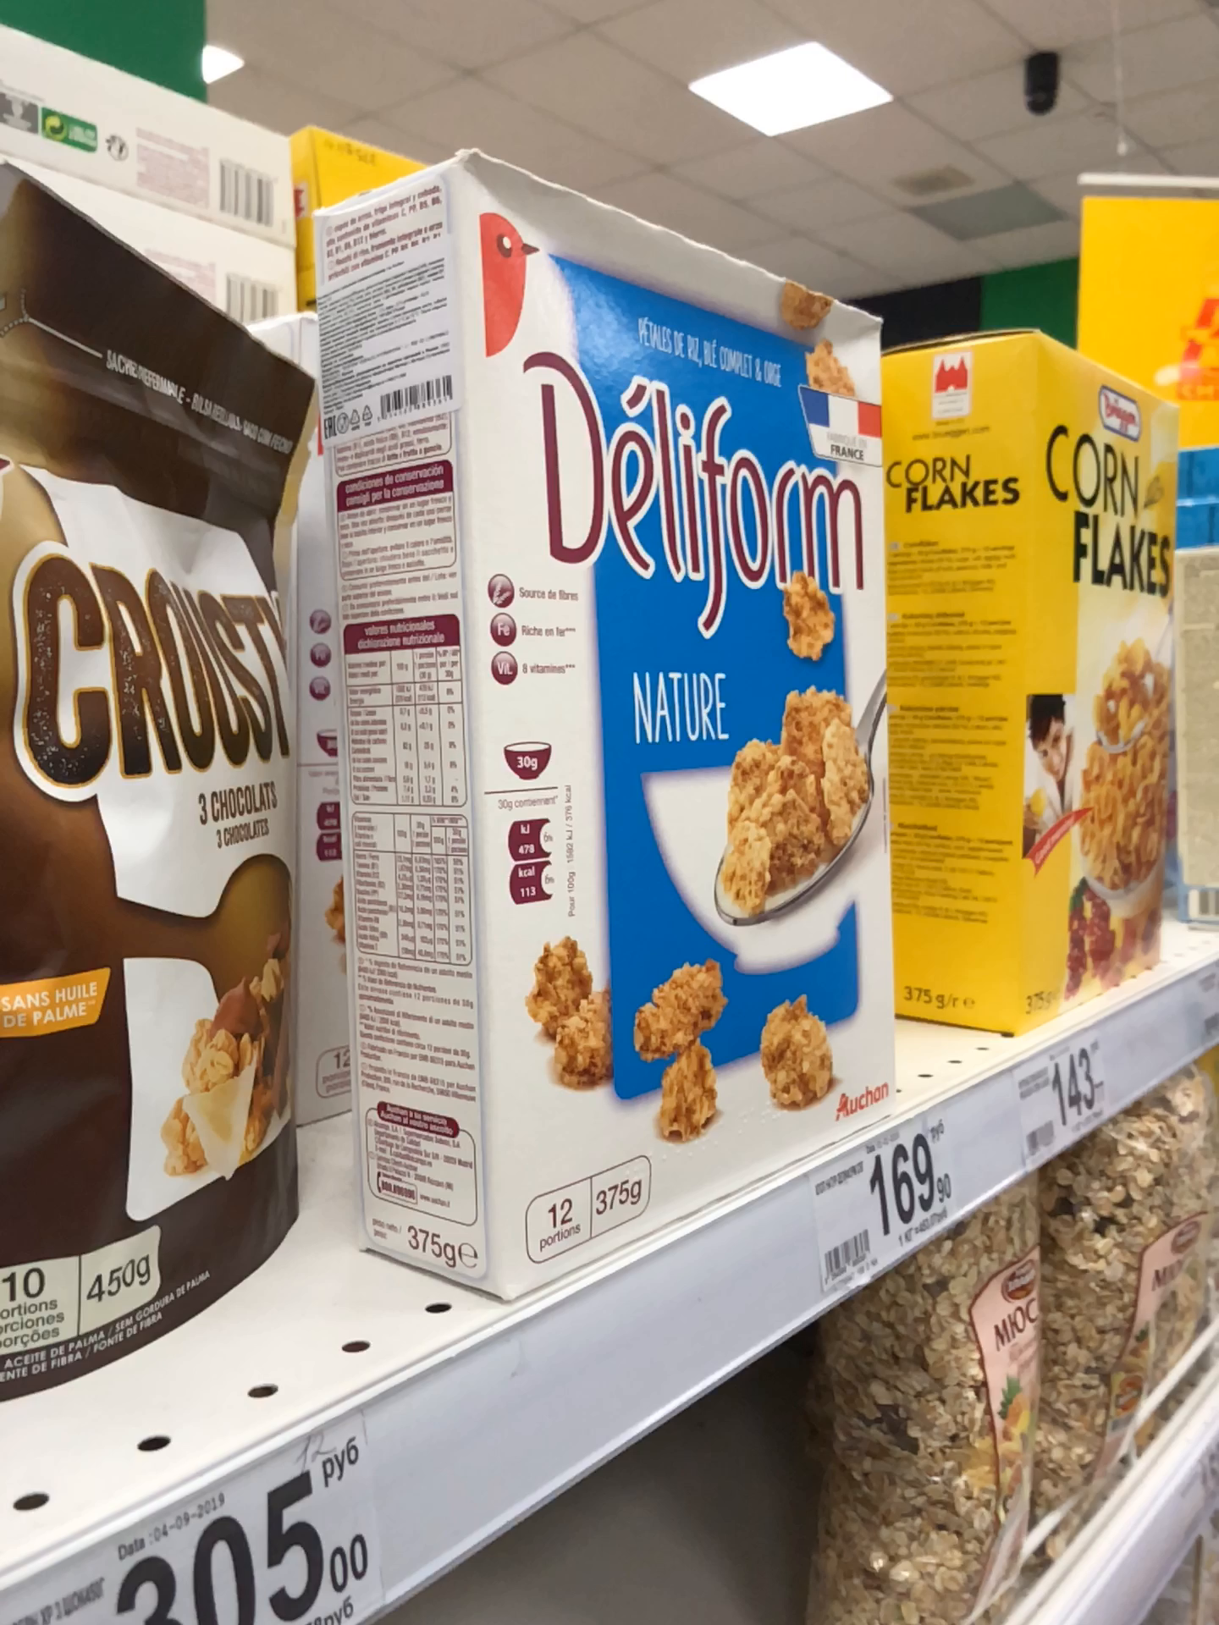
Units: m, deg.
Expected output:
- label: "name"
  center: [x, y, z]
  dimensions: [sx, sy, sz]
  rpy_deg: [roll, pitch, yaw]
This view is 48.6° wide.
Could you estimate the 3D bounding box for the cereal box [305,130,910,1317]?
- label: "cereal box"
  center: [0.014, -0.025, 0.404]
  dimensions: [0.060, 0.270, 0.200]
  rpy_deg: [1, 4, 39]
